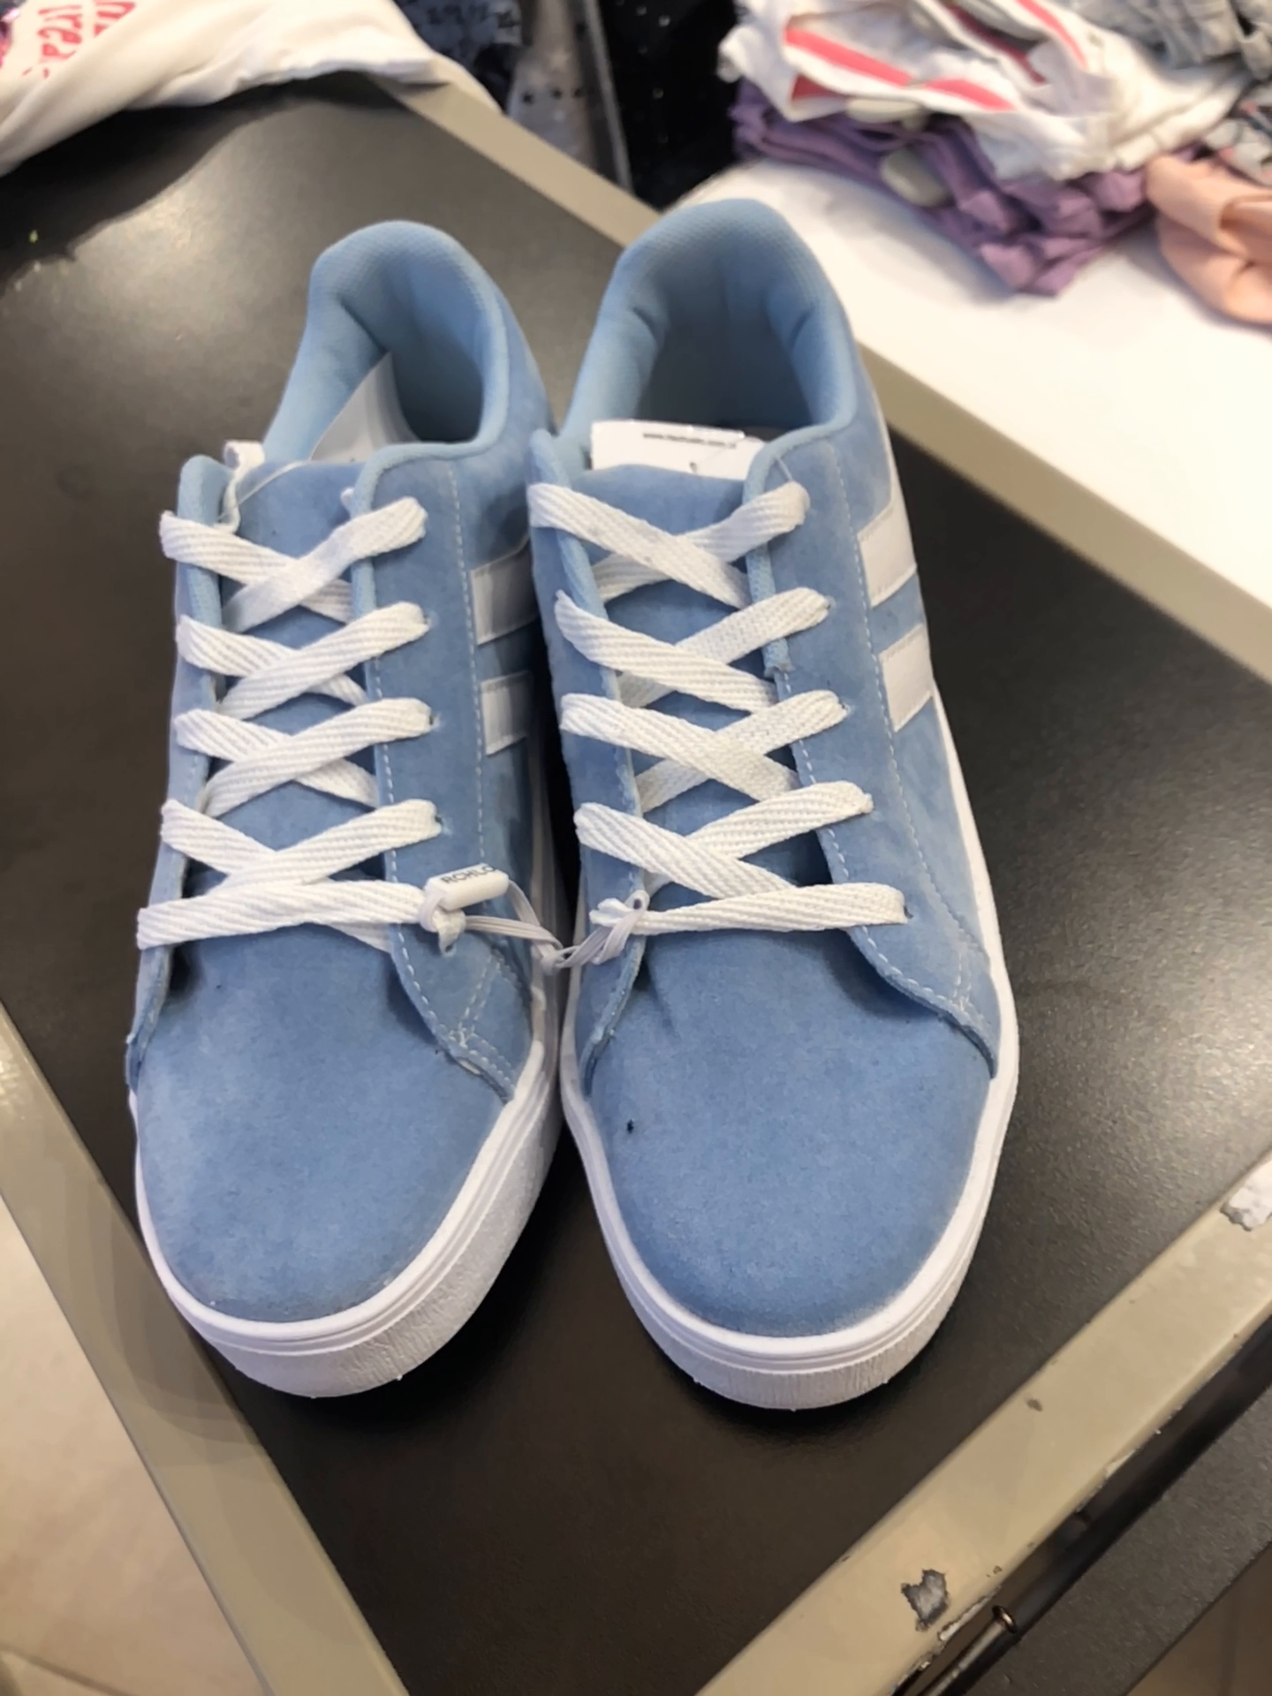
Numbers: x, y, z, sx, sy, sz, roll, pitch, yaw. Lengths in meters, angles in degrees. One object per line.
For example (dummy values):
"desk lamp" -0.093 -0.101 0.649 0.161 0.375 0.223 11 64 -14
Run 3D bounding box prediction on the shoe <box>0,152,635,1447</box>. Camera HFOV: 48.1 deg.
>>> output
"shoe" -0.061 -0.014 0.299 0.100 0.119 0.241 -3 57 8

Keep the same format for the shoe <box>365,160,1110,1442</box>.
"shoe" 0.018 -0.014 0.306 0.100 0.119 0.241 -6 57 6
